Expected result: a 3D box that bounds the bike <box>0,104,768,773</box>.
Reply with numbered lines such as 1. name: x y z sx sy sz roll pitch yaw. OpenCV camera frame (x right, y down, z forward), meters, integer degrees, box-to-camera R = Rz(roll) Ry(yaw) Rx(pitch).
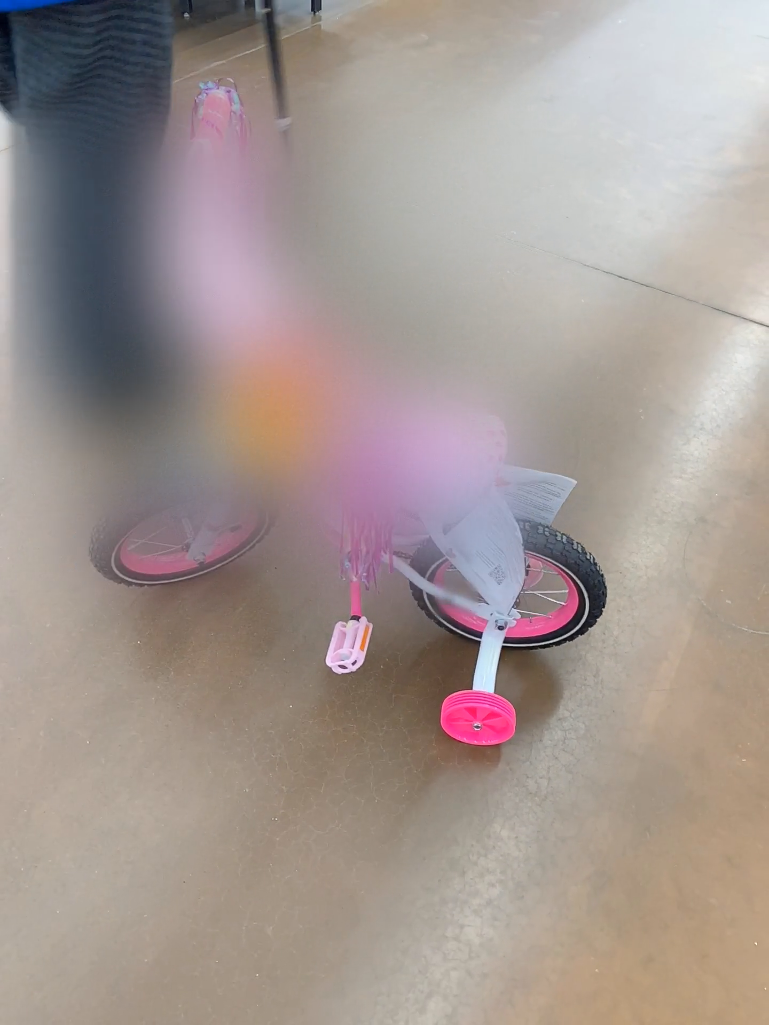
1. bike: -0.033 -0.086 1.038 0.724 0.648 0.503 5 47 3
